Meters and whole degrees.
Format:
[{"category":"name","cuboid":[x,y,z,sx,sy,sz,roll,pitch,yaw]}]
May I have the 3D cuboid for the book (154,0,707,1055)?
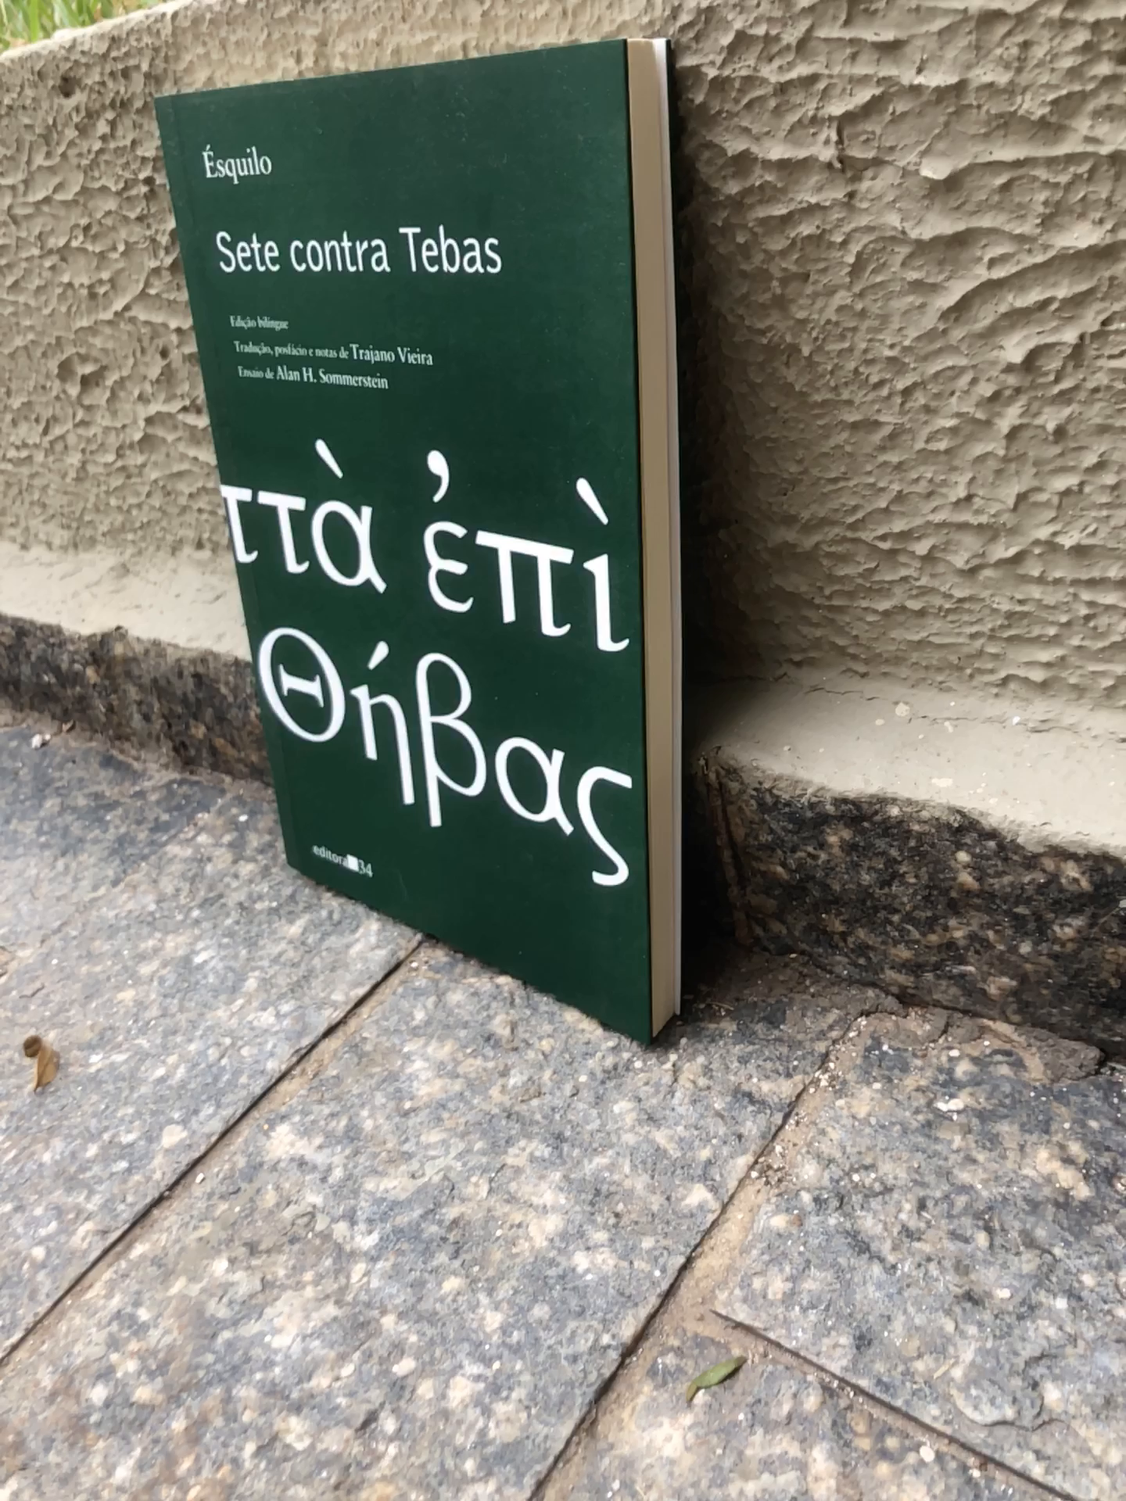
[{"category":"book","cuboid":[-0.031,-0.045,0.283,0.140,0.195,0.020,17,29,41]}]
